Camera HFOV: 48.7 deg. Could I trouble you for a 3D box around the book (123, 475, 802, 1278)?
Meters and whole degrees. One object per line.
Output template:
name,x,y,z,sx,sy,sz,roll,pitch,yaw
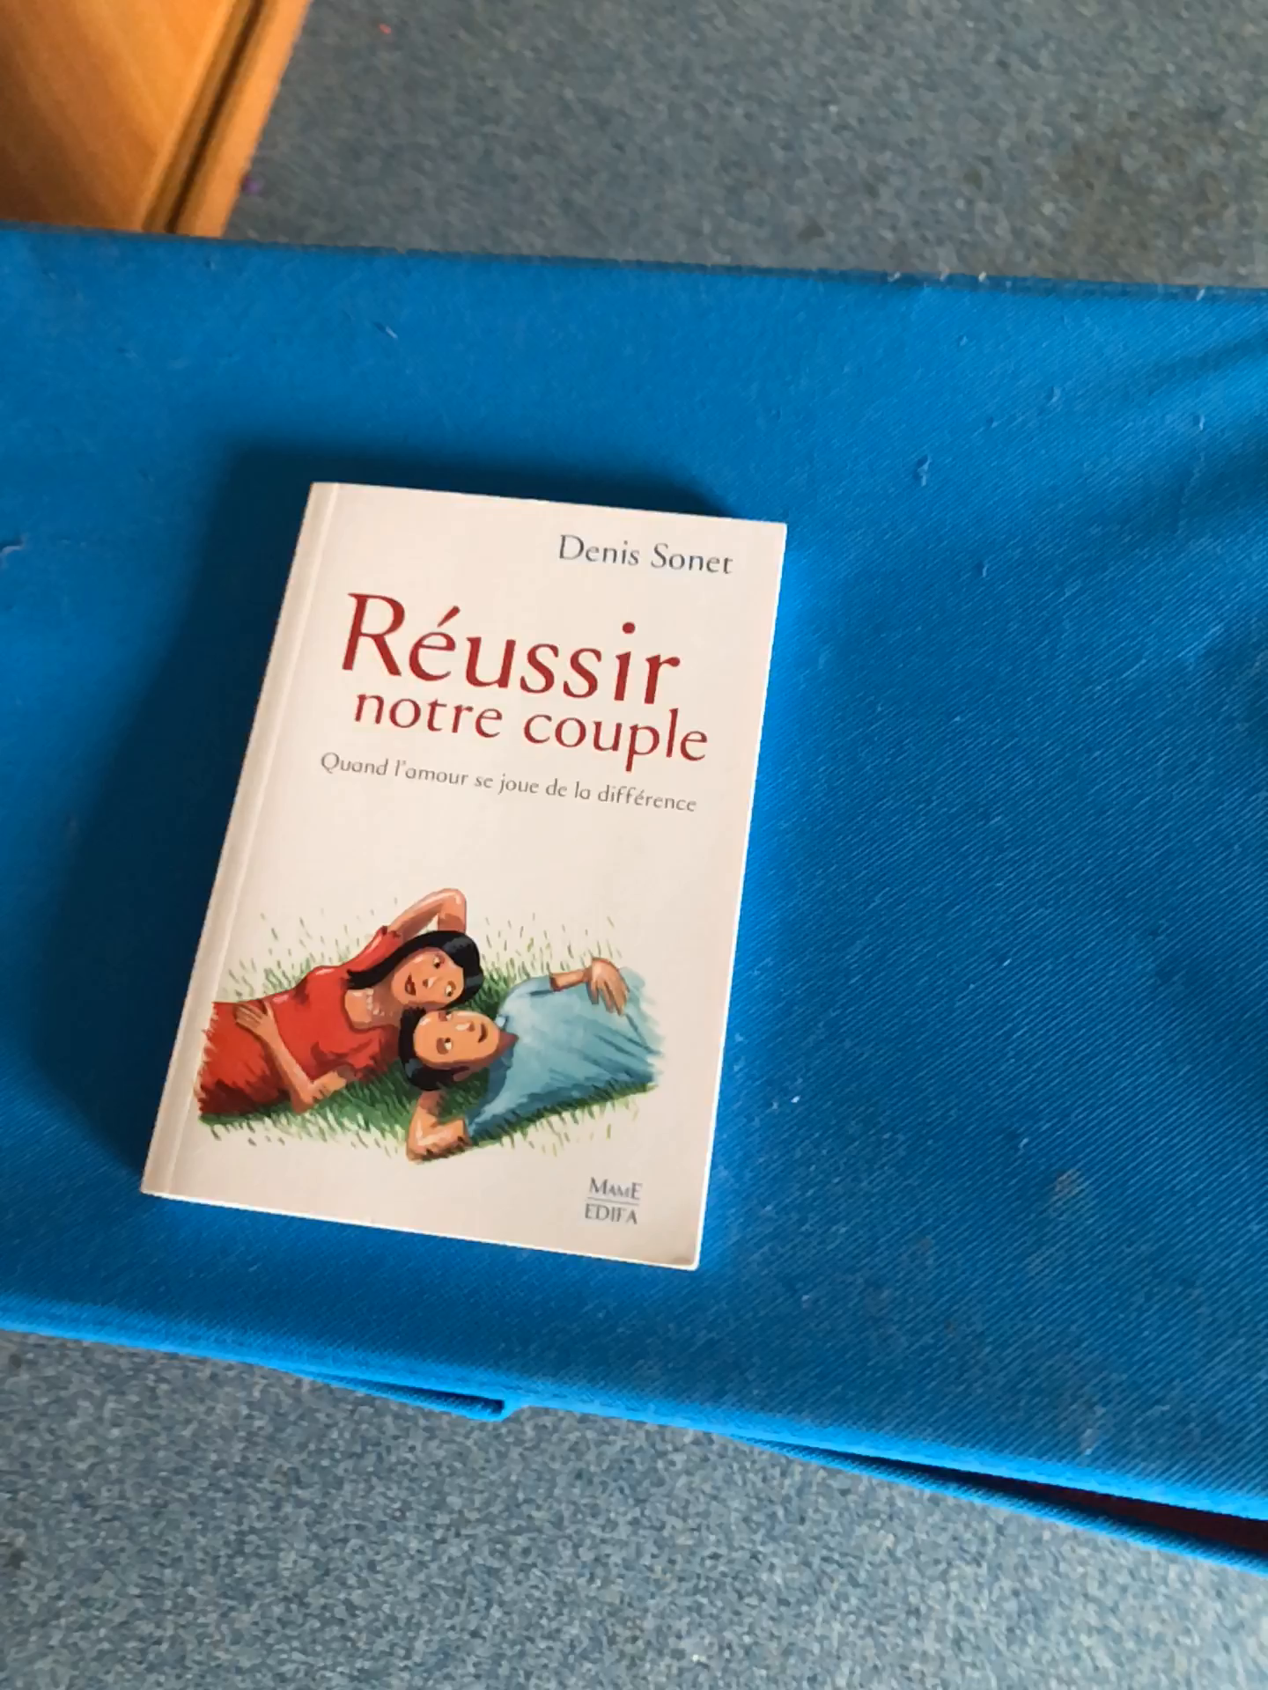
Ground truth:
book,-0.036,0.000,0.344,0.134,0.016,0.186,7,73,6
